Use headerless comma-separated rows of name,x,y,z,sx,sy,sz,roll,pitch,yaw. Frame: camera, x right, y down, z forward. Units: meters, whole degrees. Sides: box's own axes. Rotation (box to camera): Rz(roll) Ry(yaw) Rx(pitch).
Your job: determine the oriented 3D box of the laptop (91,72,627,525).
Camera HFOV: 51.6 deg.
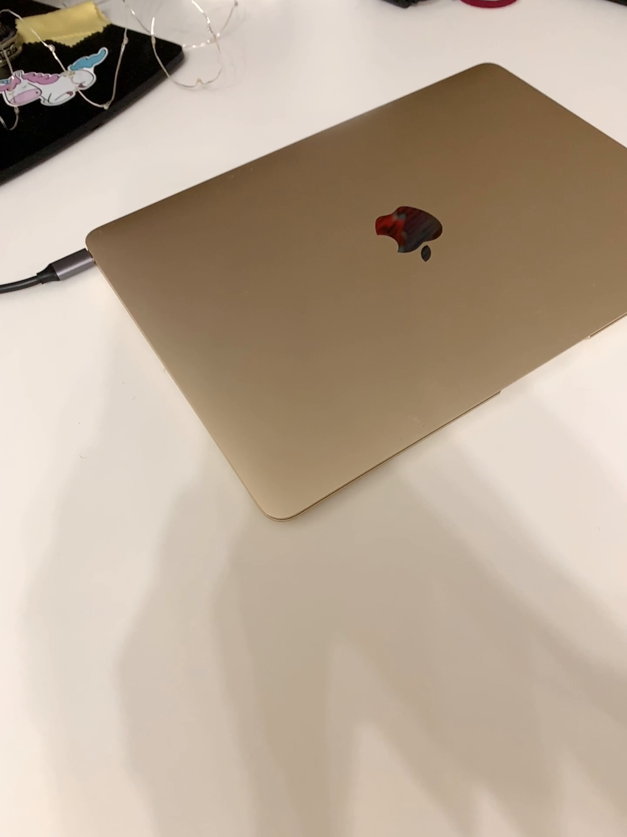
laptop,0.046,-0.084,0.316,0.255,0.009,0.175,-29,61,-17
